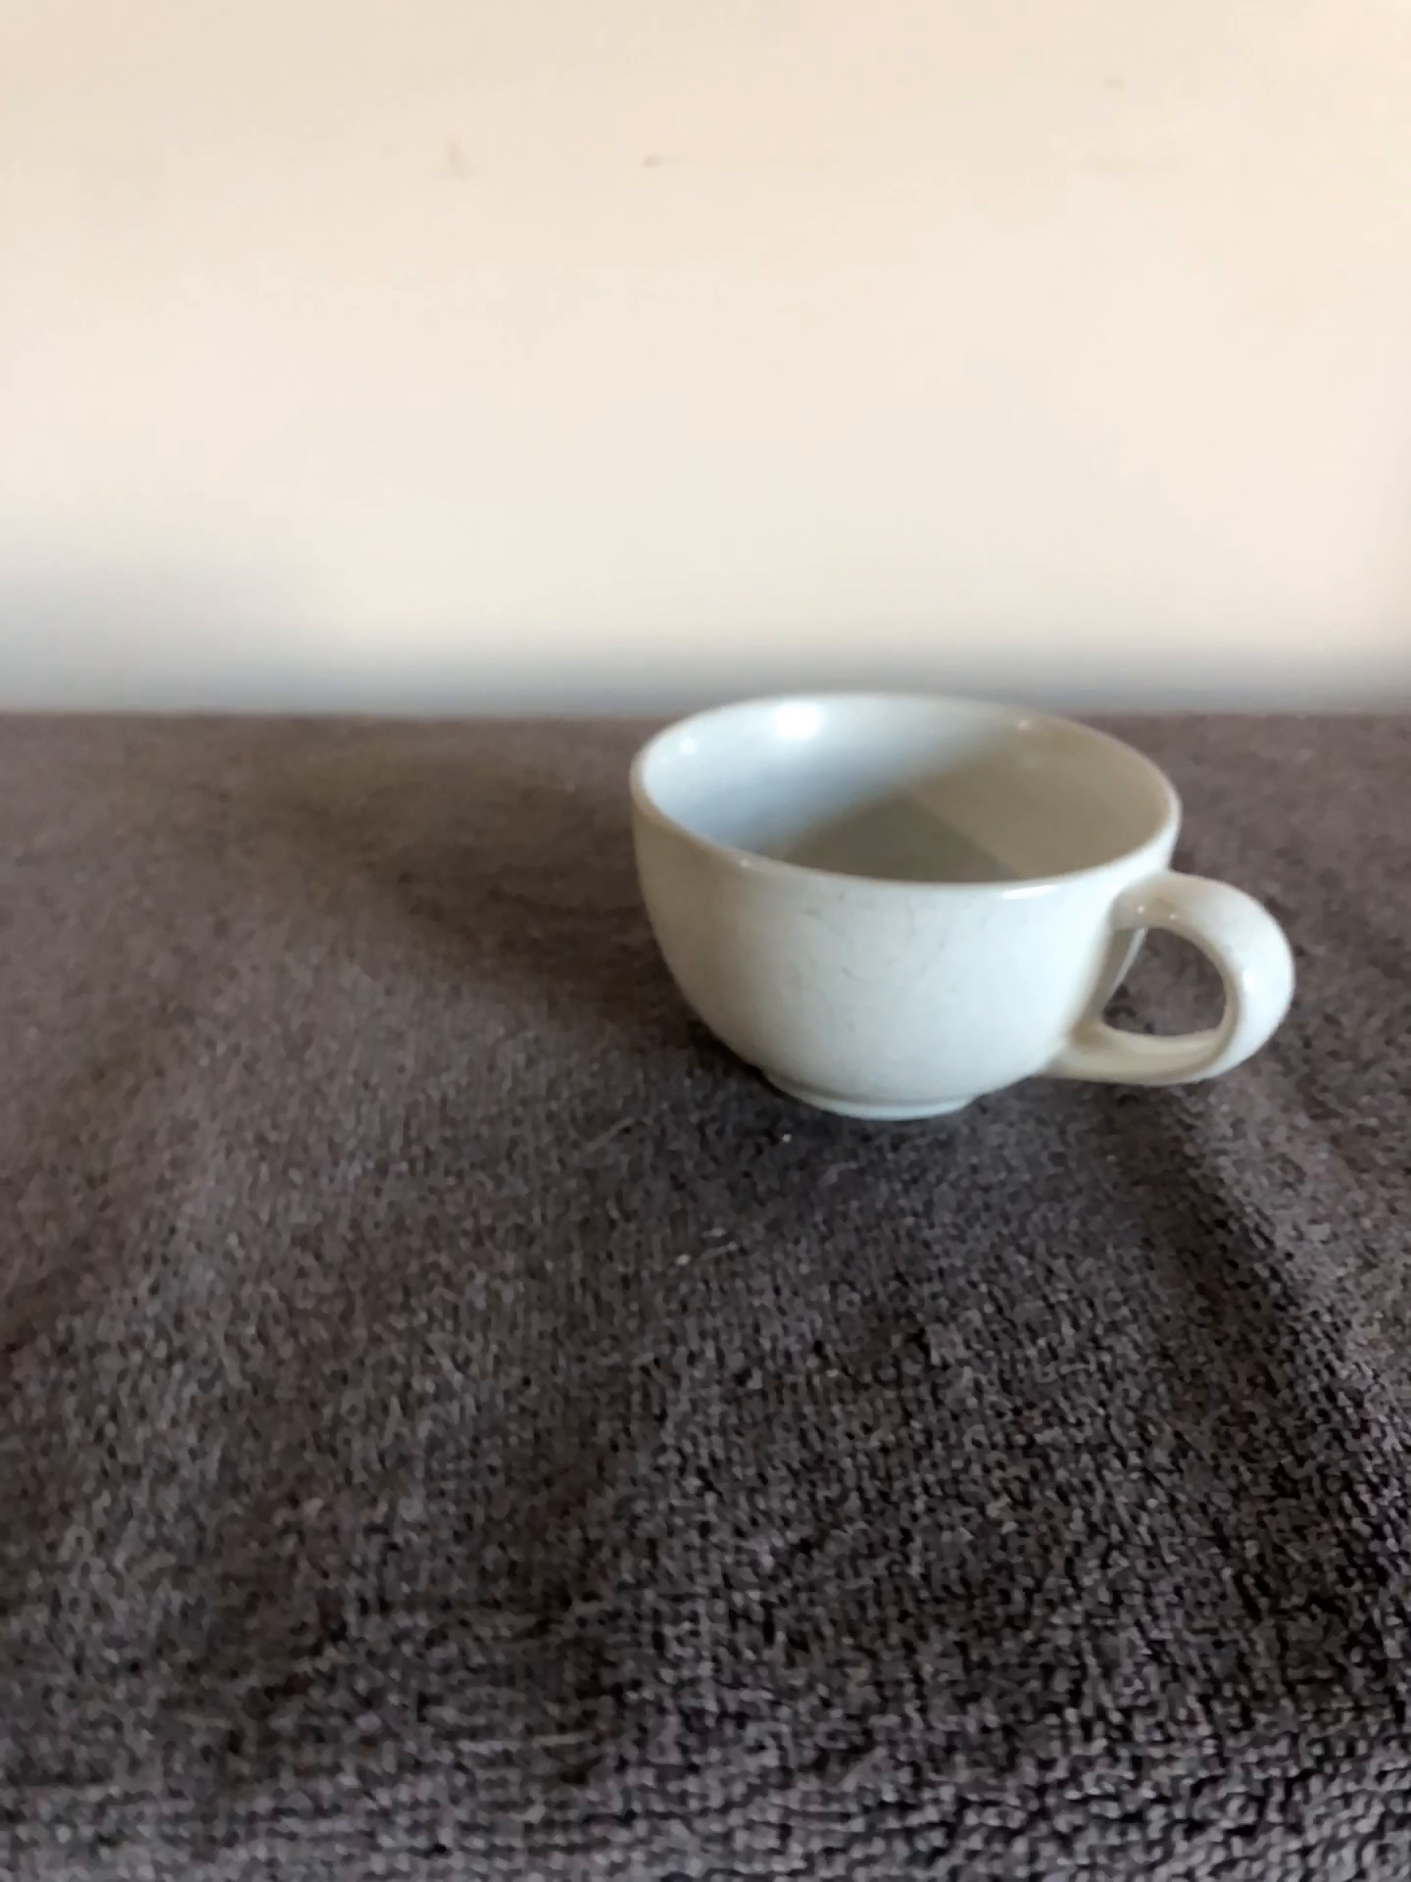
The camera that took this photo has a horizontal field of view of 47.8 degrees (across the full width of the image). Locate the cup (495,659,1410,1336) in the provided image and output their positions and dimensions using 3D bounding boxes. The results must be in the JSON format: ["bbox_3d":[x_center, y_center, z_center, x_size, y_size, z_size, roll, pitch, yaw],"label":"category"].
[{"bbox_3d":[0.039,-0.002,0.273,0.120,0.050,0.090,23,35,37],"label":"cup"}]
